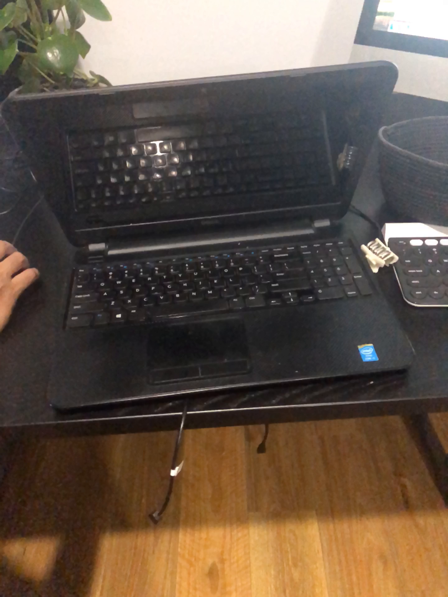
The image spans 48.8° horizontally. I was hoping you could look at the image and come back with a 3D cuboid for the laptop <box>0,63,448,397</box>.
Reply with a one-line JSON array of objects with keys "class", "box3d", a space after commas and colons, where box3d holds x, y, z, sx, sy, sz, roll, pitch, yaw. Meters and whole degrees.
[{"class": "laptop", "box3d": [-0.014, -0.070, 0.490, 0.366, 0.210, 0.207, -5, 43, -2]}]
